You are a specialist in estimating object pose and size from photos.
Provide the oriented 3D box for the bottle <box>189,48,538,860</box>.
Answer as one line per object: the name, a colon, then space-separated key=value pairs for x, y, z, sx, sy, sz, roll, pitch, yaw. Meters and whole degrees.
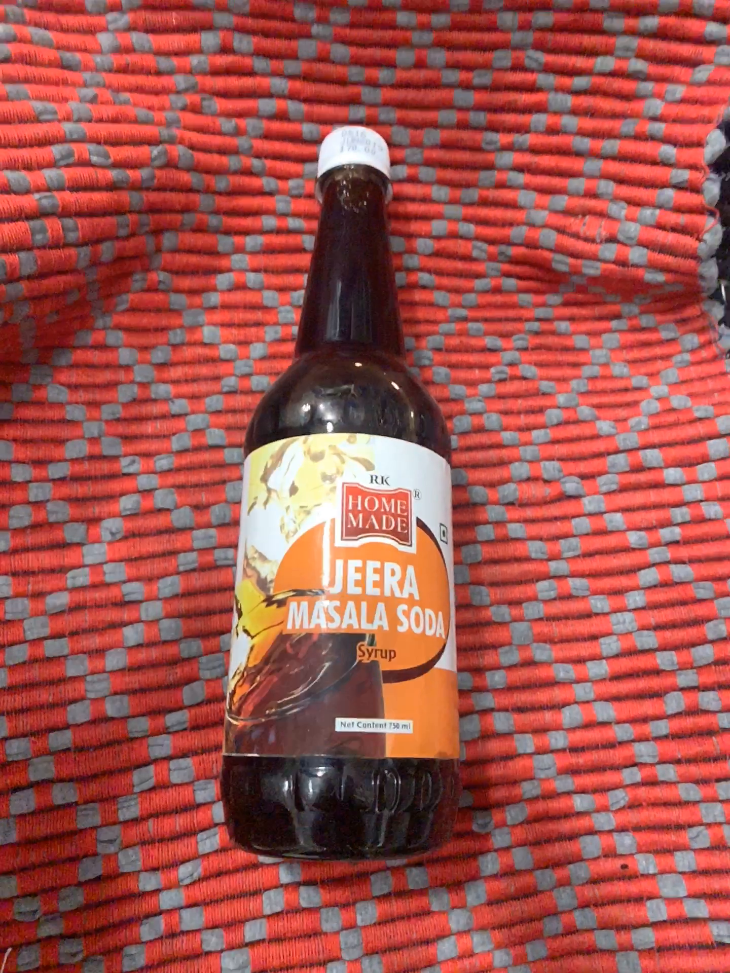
bottle: x=-0.004 y=-0.019 z=0.261 sx=0.080 sy=0.070 sz=0.260 roll=7 pitch=66 yaw=-16
